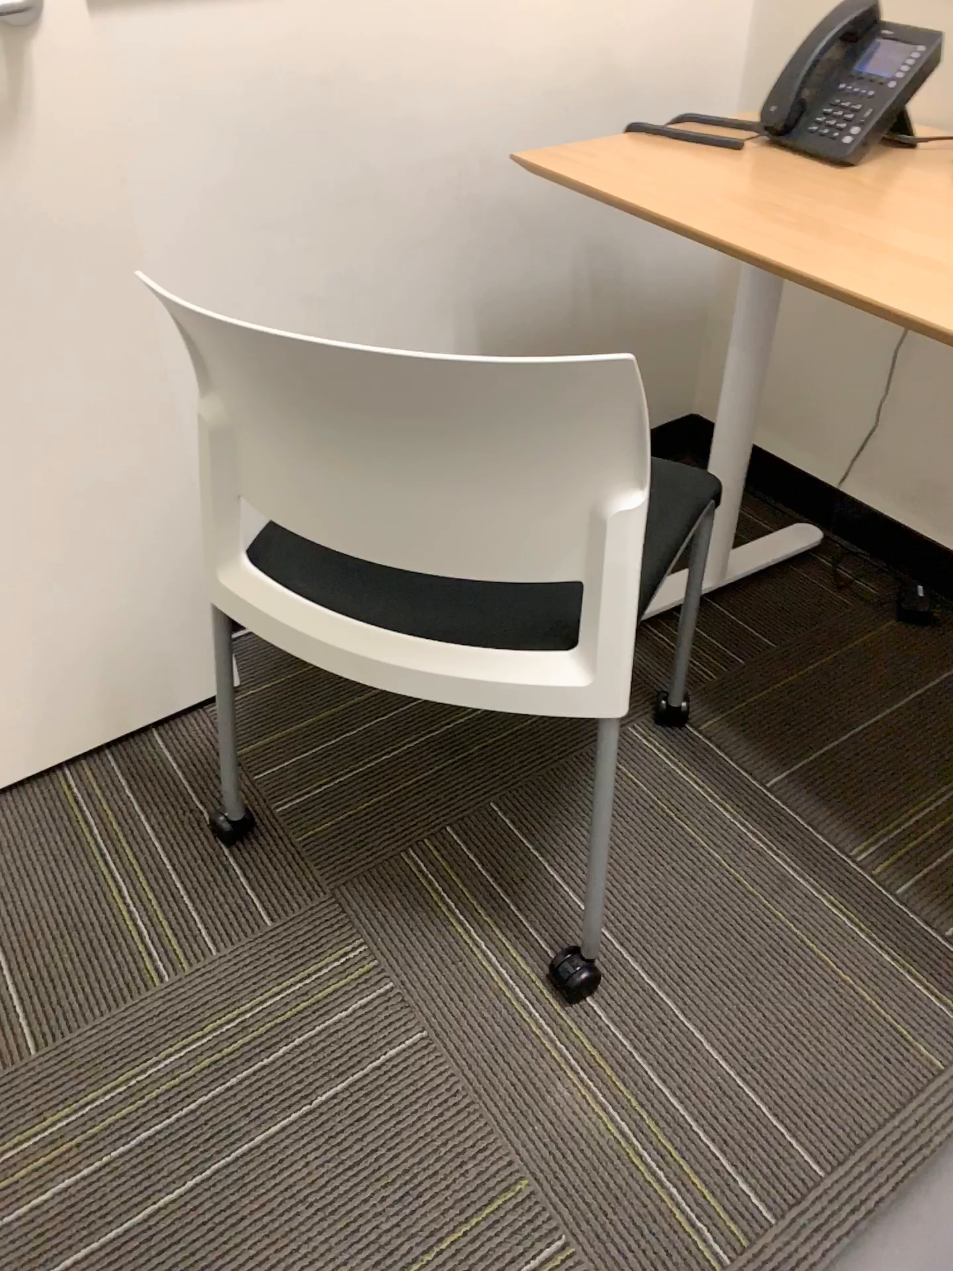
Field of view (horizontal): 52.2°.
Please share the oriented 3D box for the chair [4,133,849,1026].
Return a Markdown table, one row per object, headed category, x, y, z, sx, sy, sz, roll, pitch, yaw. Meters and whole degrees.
| category | x | y | z | sx | sy | sz | roll | pitch | yaw |
| --- | --- | --- | --- | --- | --- | --- | --- | --- | --- |
| chair | -0.008 | -0.099 | 1.183 | 0.611 | 0.755 | 0.582 | 18 | 43 | 21 |
